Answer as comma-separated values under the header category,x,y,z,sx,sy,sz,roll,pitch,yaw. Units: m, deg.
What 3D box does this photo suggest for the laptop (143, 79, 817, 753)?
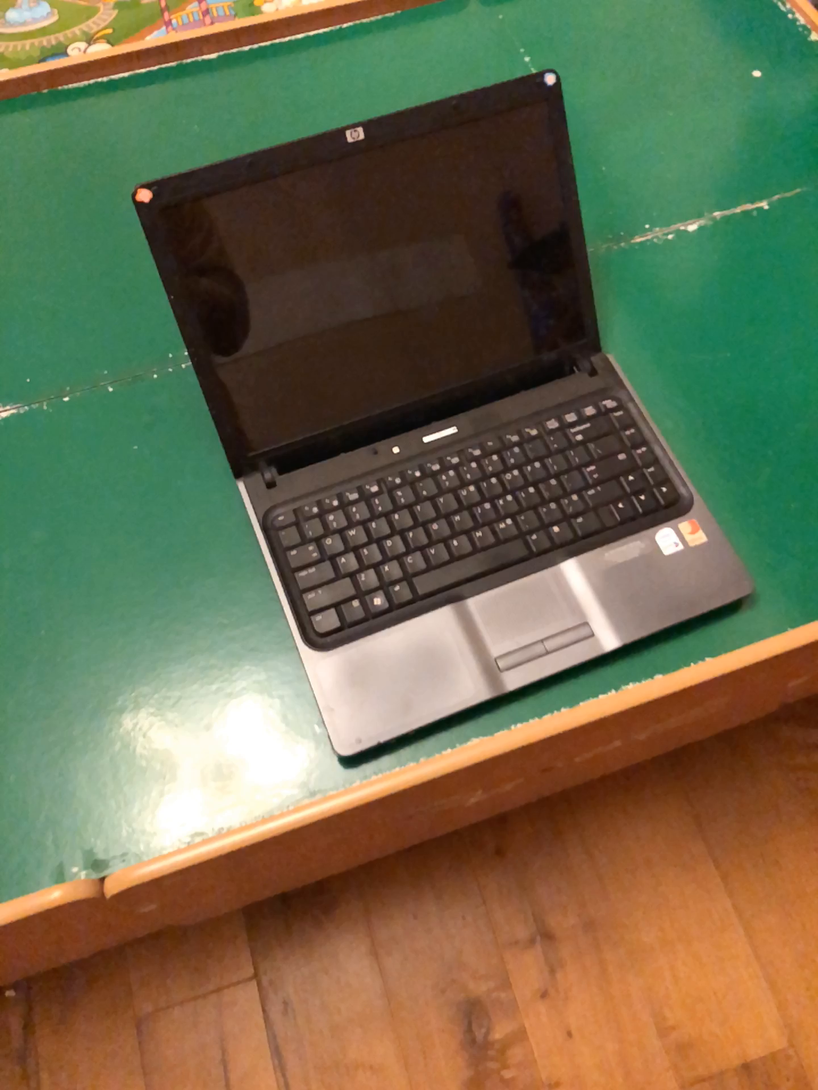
category,x,y,z,sx,sy,sz,roll,pitch,yaw
laptop,0.034,-0.104,0.648,0.323,0.172,0.375,-20,64,-9
